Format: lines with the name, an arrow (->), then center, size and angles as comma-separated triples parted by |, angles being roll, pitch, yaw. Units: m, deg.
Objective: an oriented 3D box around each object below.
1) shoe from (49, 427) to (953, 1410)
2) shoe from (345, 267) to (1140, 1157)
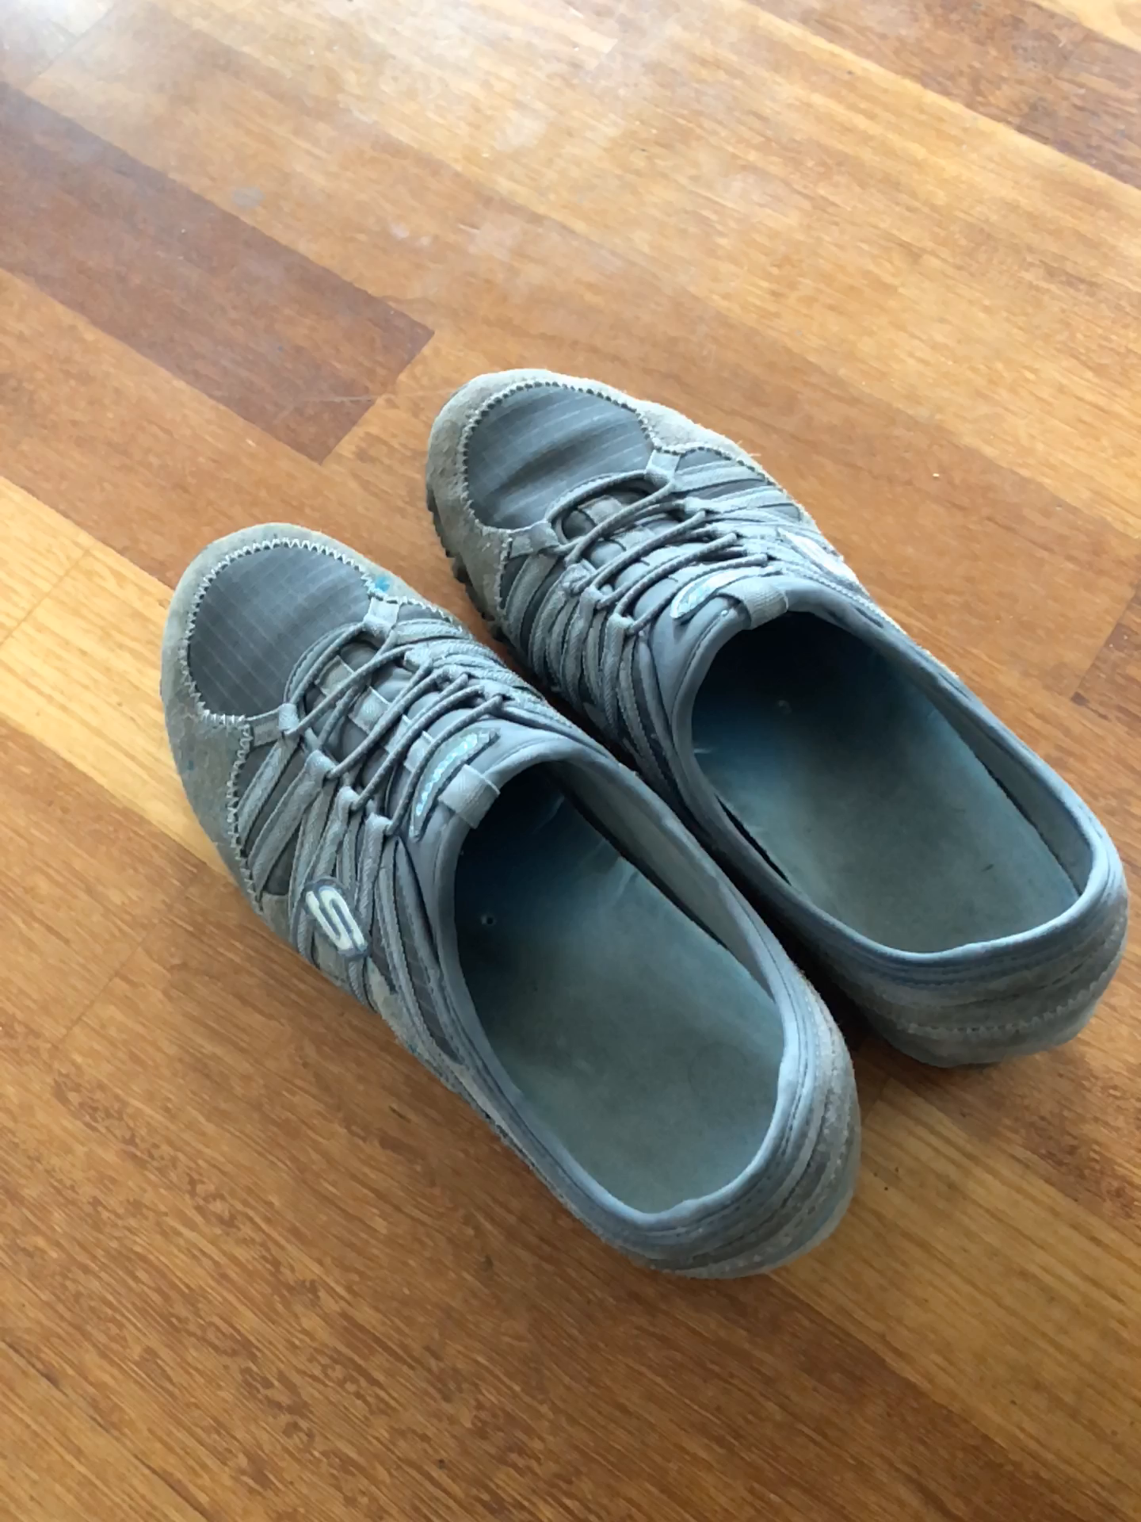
shoe -> -0.026, 0.041, 0.373 | 0.096, 0.106, 0.253 | -38, 73, -12
shoe -> 0.051, -0.013, 0.386 | 0.093, 0.106, 0.250 | -38, 73, -12
